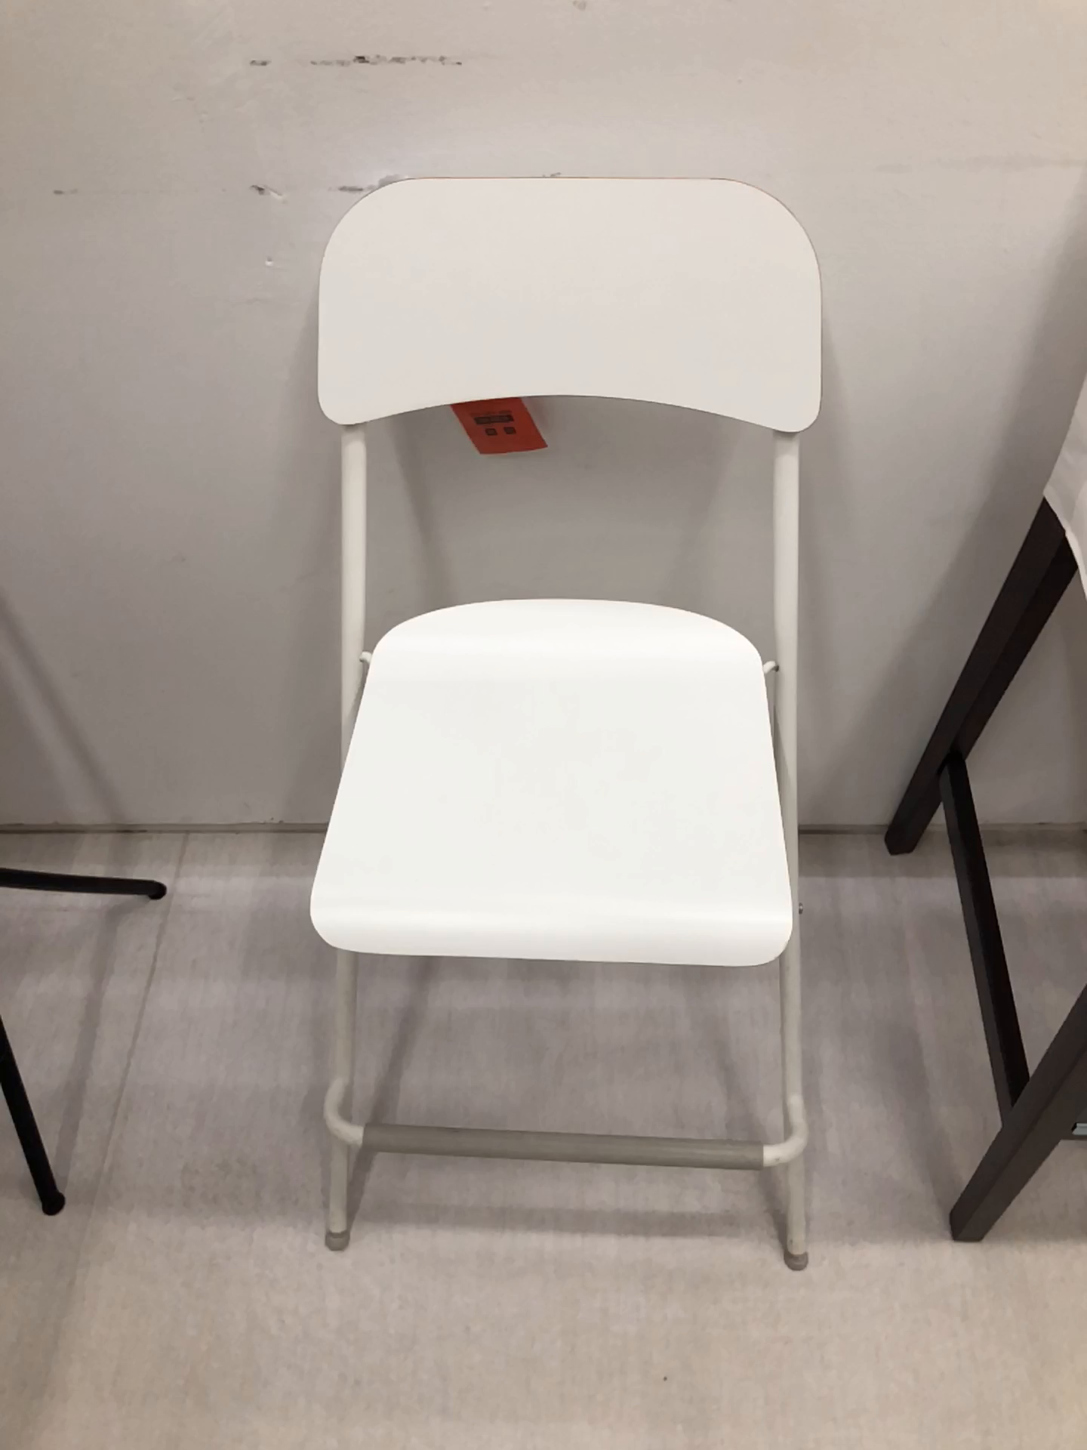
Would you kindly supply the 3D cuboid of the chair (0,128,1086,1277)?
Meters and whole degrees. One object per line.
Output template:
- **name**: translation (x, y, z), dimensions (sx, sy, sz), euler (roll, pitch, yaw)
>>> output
- **chair**: translation (0.015, 0.072, 1.001), dimensions (0.530, 0.894, 0.483), euler (0, 50, 3)
